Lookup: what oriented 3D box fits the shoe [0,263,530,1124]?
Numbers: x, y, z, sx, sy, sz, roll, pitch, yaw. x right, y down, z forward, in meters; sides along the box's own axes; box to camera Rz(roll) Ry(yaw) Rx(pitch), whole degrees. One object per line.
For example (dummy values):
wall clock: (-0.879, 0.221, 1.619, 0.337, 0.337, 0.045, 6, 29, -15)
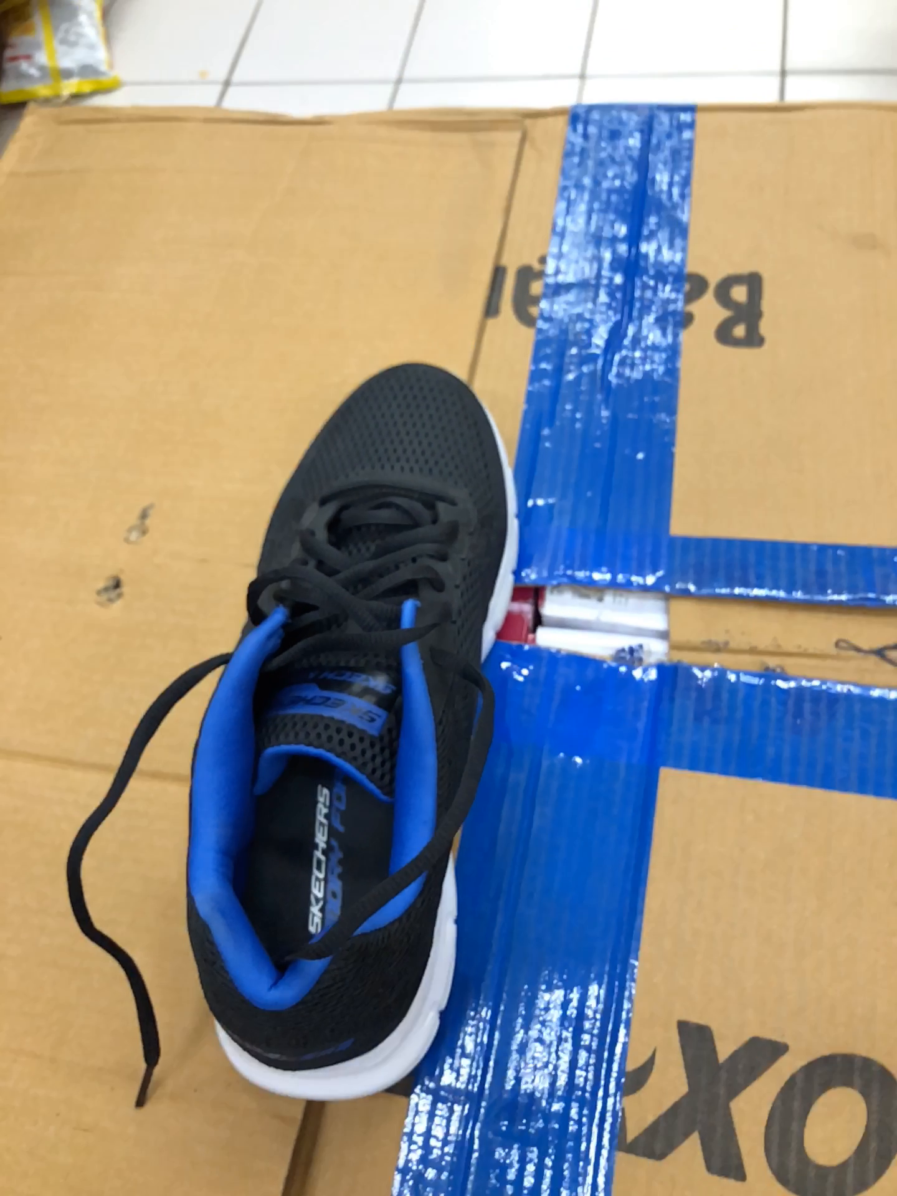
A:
shoe: (-0.043, 0.022, 0.358, 0.114, 0.106, 0.278, 2, 62, 10)
